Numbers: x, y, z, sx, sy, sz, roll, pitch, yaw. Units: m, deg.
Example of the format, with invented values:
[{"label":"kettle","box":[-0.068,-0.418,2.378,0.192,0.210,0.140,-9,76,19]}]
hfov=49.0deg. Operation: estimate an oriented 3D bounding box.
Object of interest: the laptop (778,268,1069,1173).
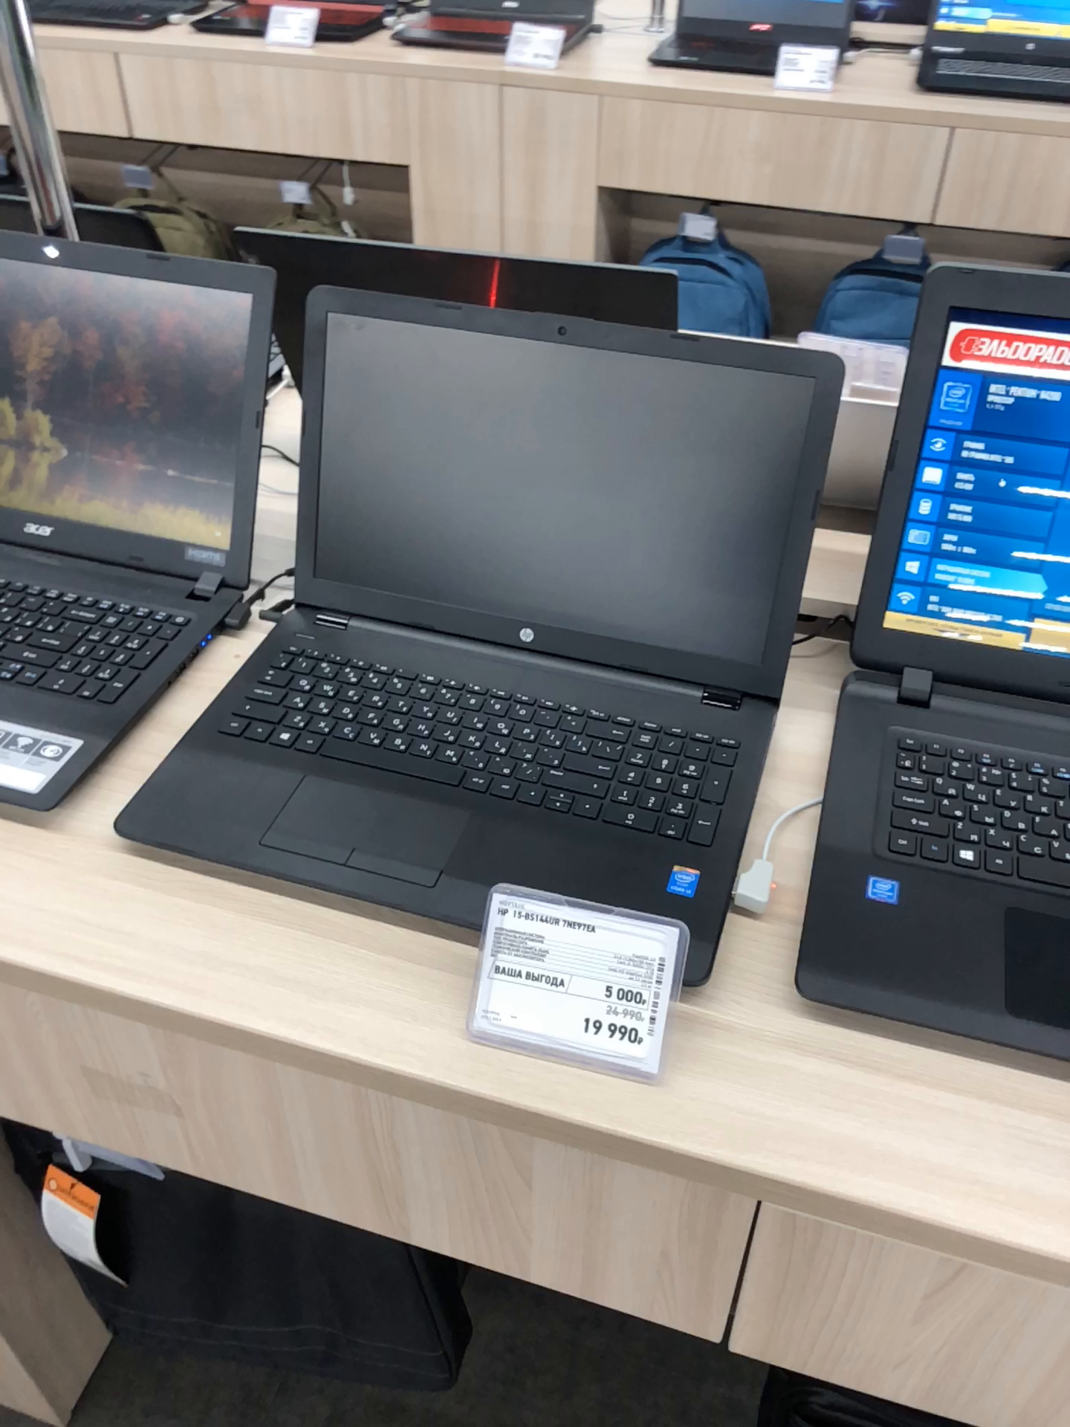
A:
[{"label":"laptop","box":[0.393,-0.038,0.662,0.396,0.267,0.397,12,40,15]}]

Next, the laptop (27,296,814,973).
[{"label":"laptop","box":[-0.042,-0.080,0.761,0.377,0.215,0.335,11,42,13]}]

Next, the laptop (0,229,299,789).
[{"label":"laptop","box":[-0.443,-0.171,0.864,0.359,0.226,0.351,12,40,12]}]
